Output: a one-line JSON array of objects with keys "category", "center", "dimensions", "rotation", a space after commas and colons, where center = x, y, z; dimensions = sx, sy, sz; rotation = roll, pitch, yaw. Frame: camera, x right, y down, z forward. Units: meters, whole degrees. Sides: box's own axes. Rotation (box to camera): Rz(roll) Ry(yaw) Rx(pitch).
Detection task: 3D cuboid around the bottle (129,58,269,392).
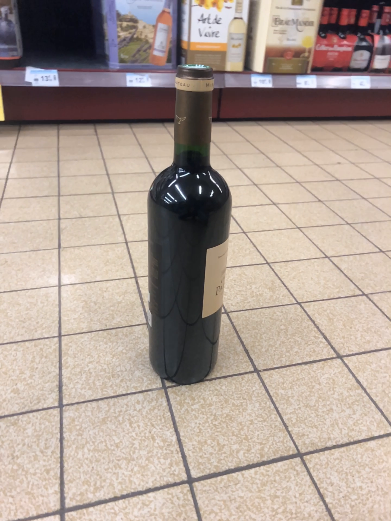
[{"category": "bottle", "center": [-0.007, -0.015, 0.384], "dimensions": [0.090, 0.288, 0.080], "rotation": [2, 31, -4]}]
